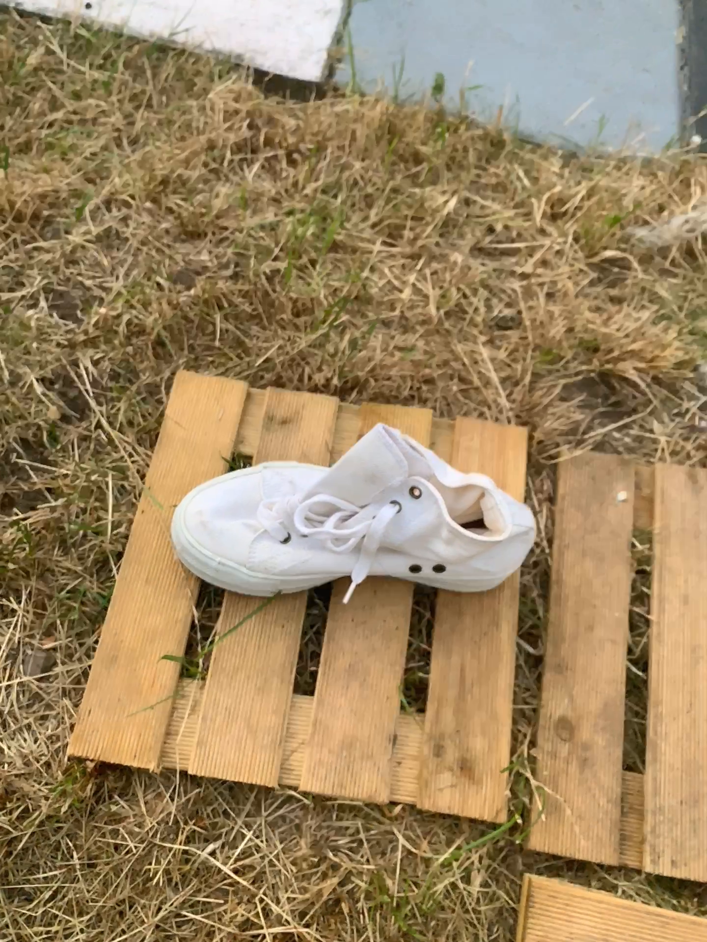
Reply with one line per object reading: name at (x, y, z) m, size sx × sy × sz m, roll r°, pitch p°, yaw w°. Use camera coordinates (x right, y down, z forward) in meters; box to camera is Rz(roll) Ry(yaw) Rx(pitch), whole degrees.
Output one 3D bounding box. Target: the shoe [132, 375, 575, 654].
shoe at (-0.001, 0.039, 0.506) m, size 0.260 × 0.129 × 0.100 m, roll 14°, pitch 66°, yaw -4°
